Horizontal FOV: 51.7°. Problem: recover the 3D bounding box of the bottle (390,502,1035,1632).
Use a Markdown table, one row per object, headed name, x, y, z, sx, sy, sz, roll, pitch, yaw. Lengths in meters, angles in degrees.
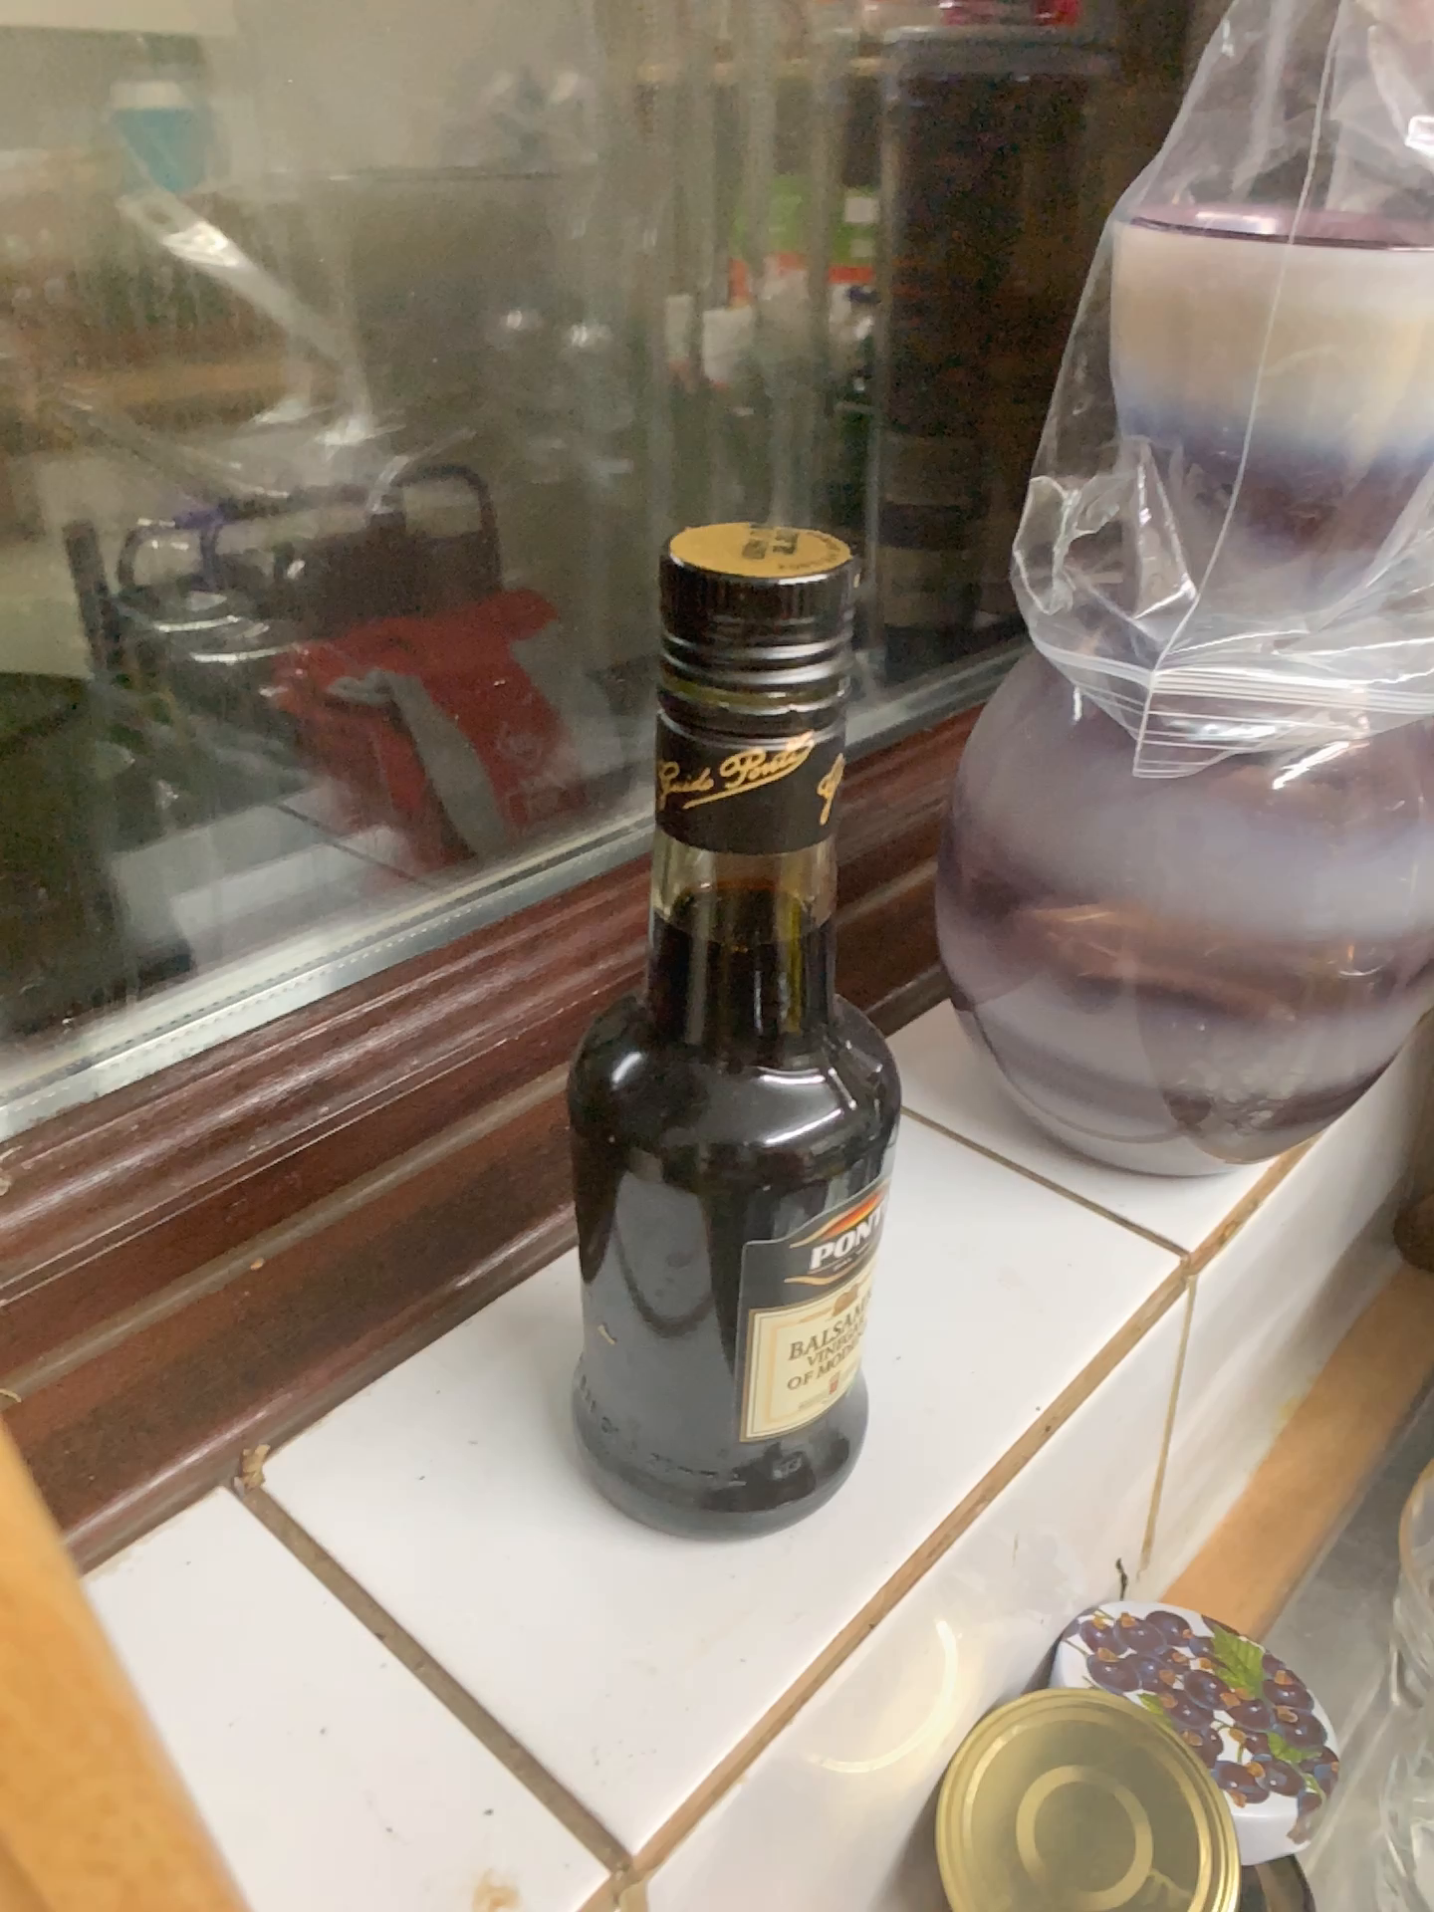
| name | x | y | z | sx | sy | sz | roll | pitch | yaw |
| --- | --- | --- | --- | --- | --- | --- | --- | --- | --- |
| bottle | -0.002 | 0.020 | 0.269 | 0.070 | 0.178 | 0.070 | 1 | 28 | -1 |
